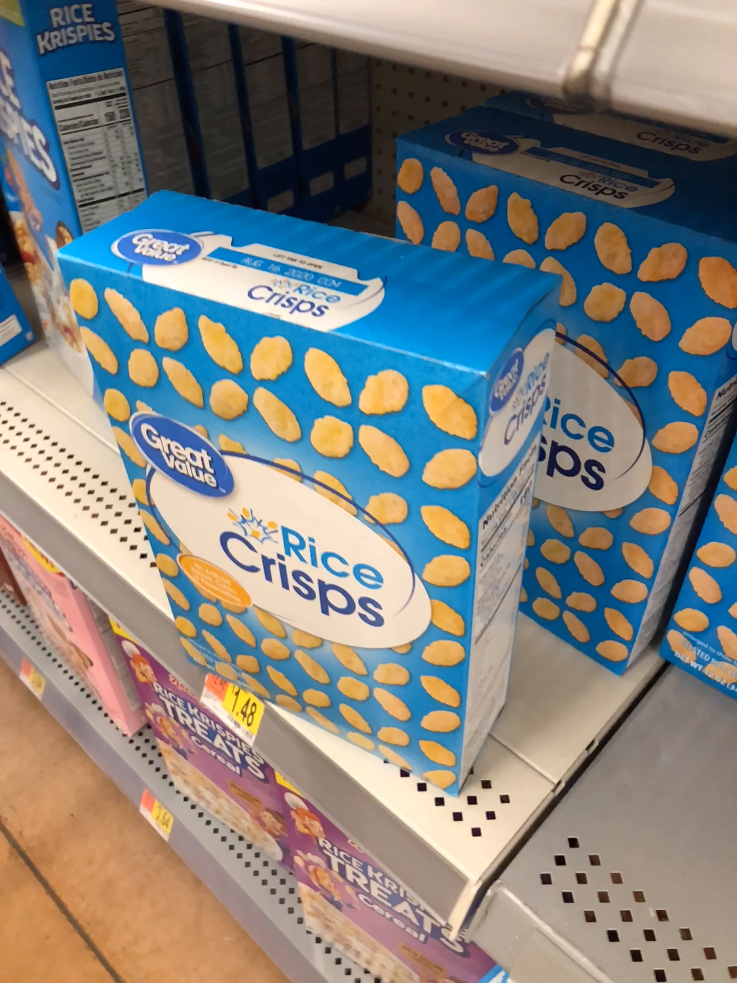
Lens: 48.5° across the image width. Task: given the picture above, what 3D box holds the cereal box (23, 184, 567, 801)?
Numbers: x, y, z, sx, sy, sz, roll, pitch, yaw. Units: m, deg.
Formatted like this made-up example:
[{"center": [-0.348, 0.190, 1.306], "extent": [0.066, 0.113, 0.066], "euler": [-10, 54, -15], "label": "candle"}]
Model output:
[{"center": [-0.026, 0.012, 0.399], "extent": [0.200, 0.269, 0.070], "euler": [19, 48, 24], "label": "cereal box"}]
